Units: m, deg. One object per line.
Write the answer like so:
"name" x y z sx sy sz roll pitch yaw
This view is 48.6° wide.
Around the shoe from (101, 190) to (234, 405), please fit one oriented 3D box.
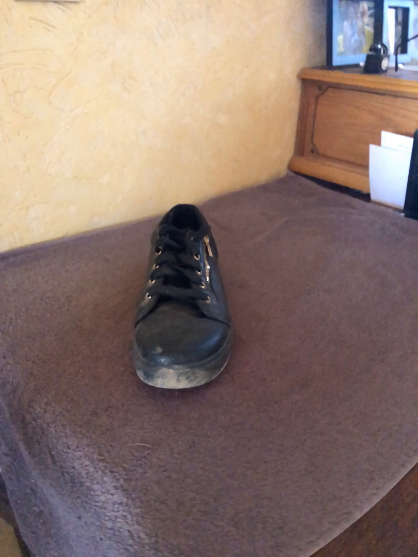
"shoe" -0.027 -0.003 0.484 0.100 0.089 0.272 2 30 1
